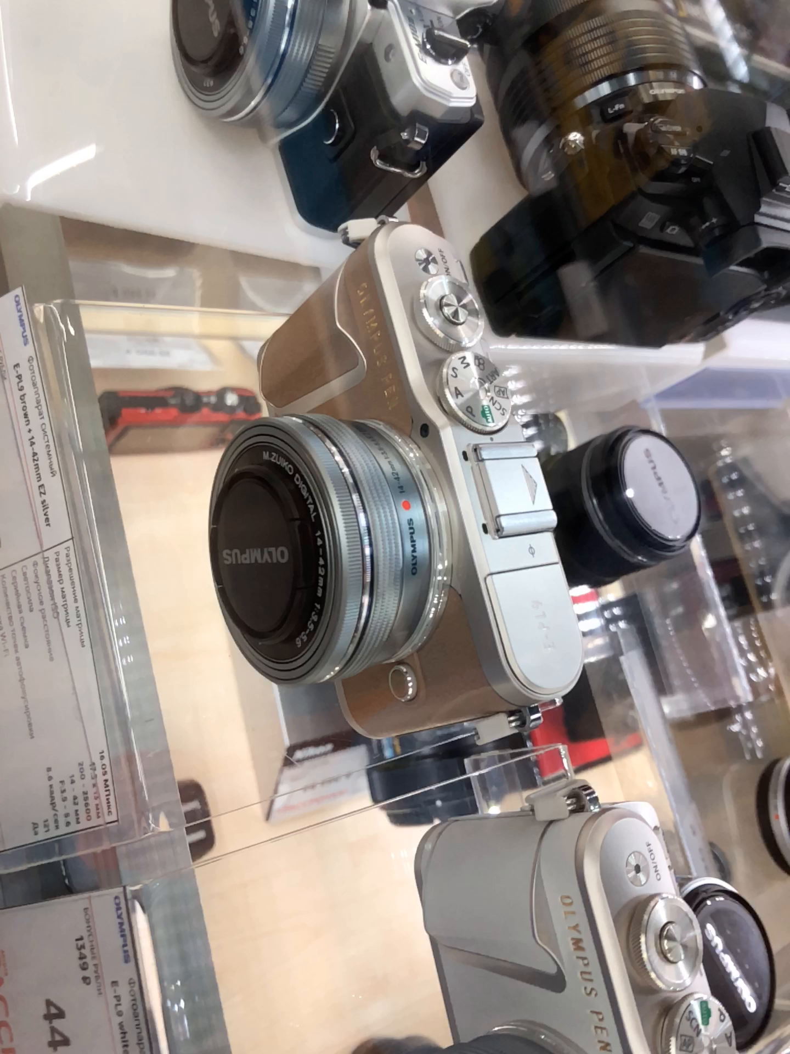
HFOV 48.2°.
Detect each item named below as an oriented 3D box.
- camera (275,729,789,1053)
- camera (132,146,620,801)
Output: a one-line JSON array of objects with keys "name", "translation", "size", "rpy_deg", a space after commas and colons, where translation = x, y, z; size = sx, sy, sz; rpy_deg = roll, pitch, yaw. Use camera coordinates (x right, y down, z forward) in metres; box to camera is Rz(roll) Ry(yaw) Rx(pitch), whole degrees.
[{"name": "camera", "translation": [0.030, 0.111, 0.174], "size": [0.060, 0.060, 0.122], "rpy_deg": [-6, 75, -38]}, {"name": "camera", "translation": [-0.009, -0.010, 0.201], "size": [0.060, 0.060, 0.122], "rpy_deg": [-6, 75, -38]}]
